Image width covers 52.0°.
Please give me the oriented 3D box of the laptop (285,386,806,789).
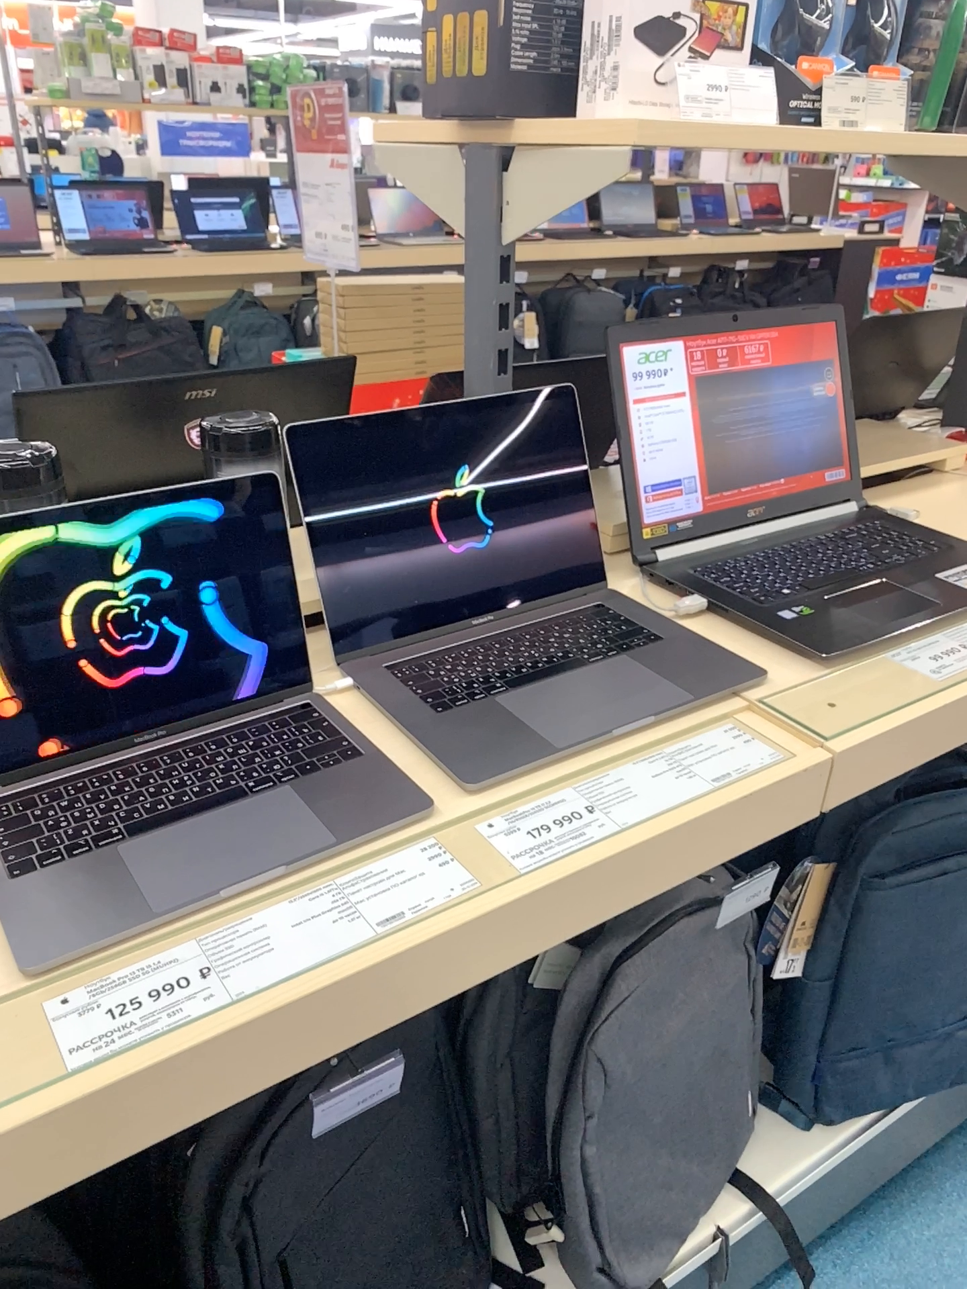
[{"bbox_3d":[0.045,-0.087,0.943,0.345,0.210,0.325,-16,32,-30],"label":"laptop"}]
